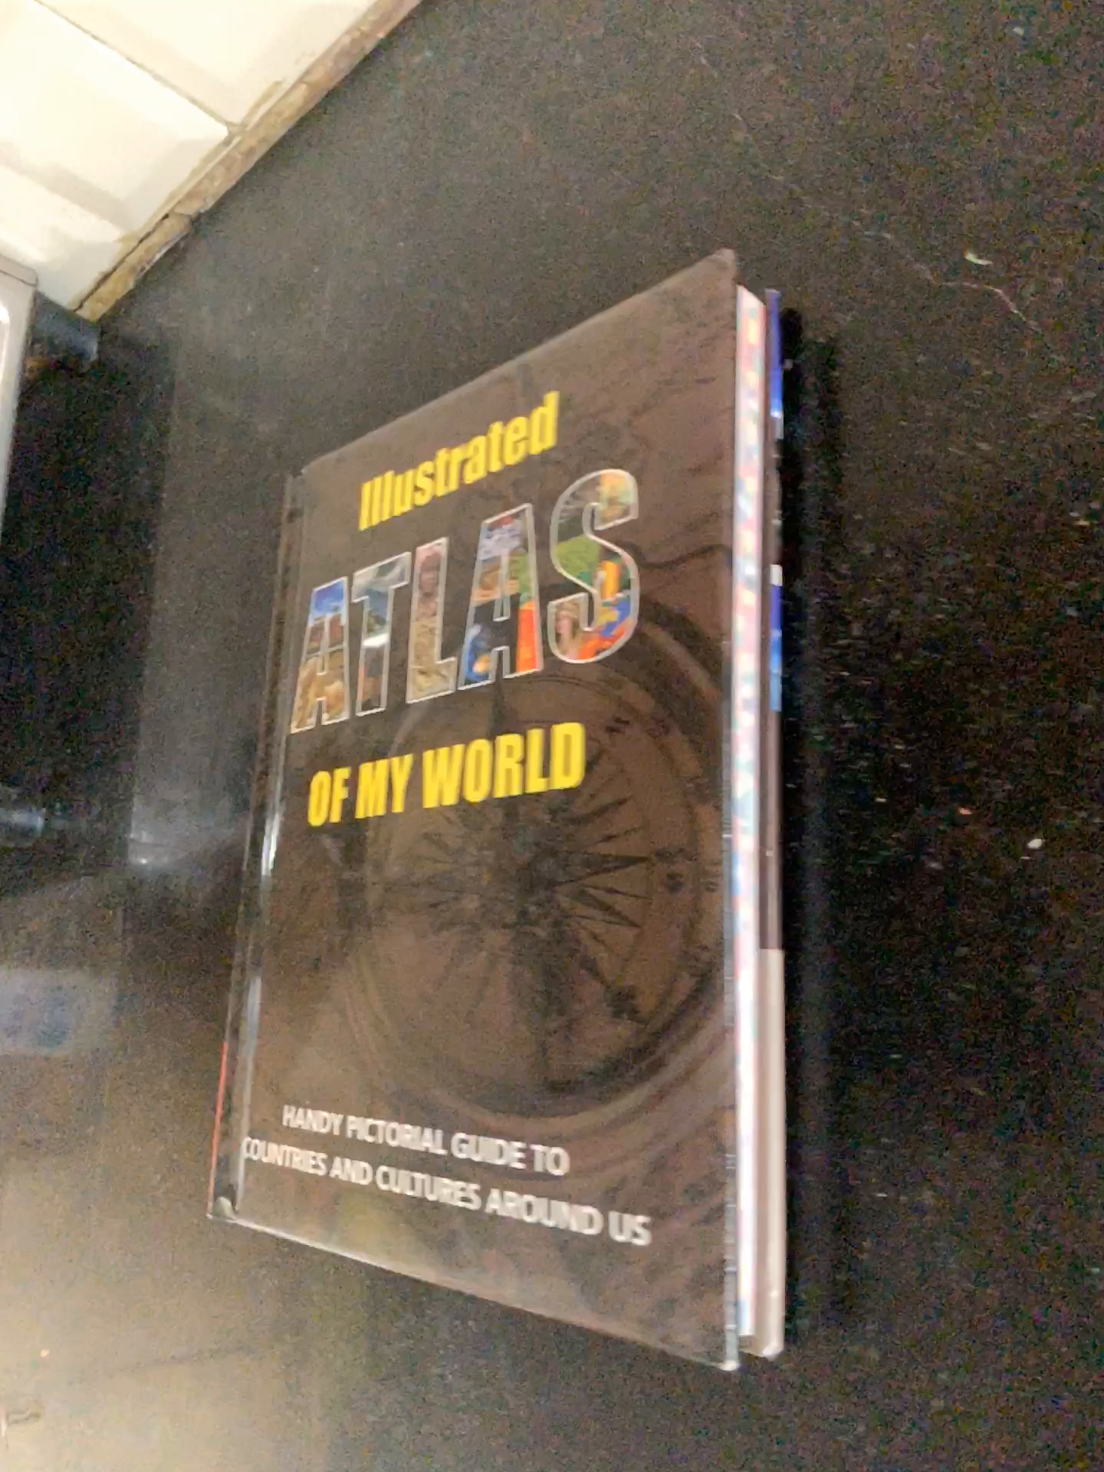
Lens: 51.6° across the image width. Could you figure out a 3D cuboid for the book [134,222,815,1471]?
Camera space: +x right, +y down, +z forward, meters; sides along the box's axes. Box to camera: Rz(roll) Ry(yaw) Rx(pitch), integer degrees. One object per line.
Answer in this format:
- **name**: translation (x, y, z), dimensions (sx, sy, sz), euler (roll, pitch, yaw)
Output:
- **book**: translation (-0.029, 0.031, 0.310), dimensions (0.201, 0.040, 0.270), euler (-11, 70, 43)
